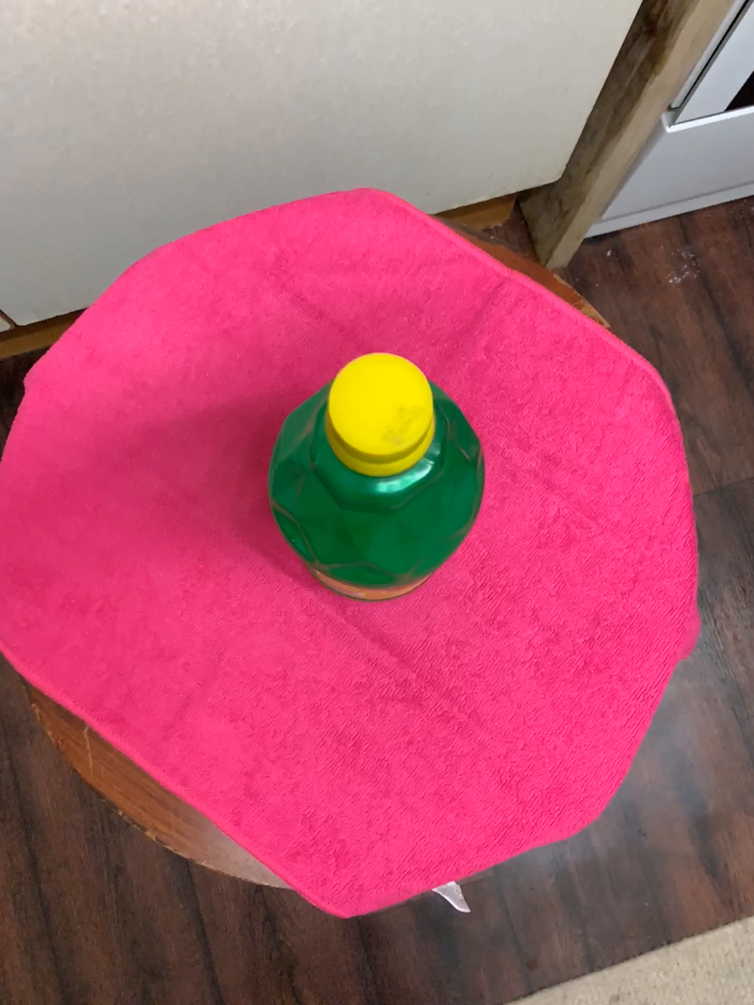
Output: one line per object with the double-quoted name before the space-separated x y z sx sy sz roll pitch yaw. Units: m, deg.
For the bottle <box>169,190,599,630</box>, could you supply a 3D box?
"bottle" 0.001 -0.010 0.324 0.090 0.230 0.100 19 81 2
